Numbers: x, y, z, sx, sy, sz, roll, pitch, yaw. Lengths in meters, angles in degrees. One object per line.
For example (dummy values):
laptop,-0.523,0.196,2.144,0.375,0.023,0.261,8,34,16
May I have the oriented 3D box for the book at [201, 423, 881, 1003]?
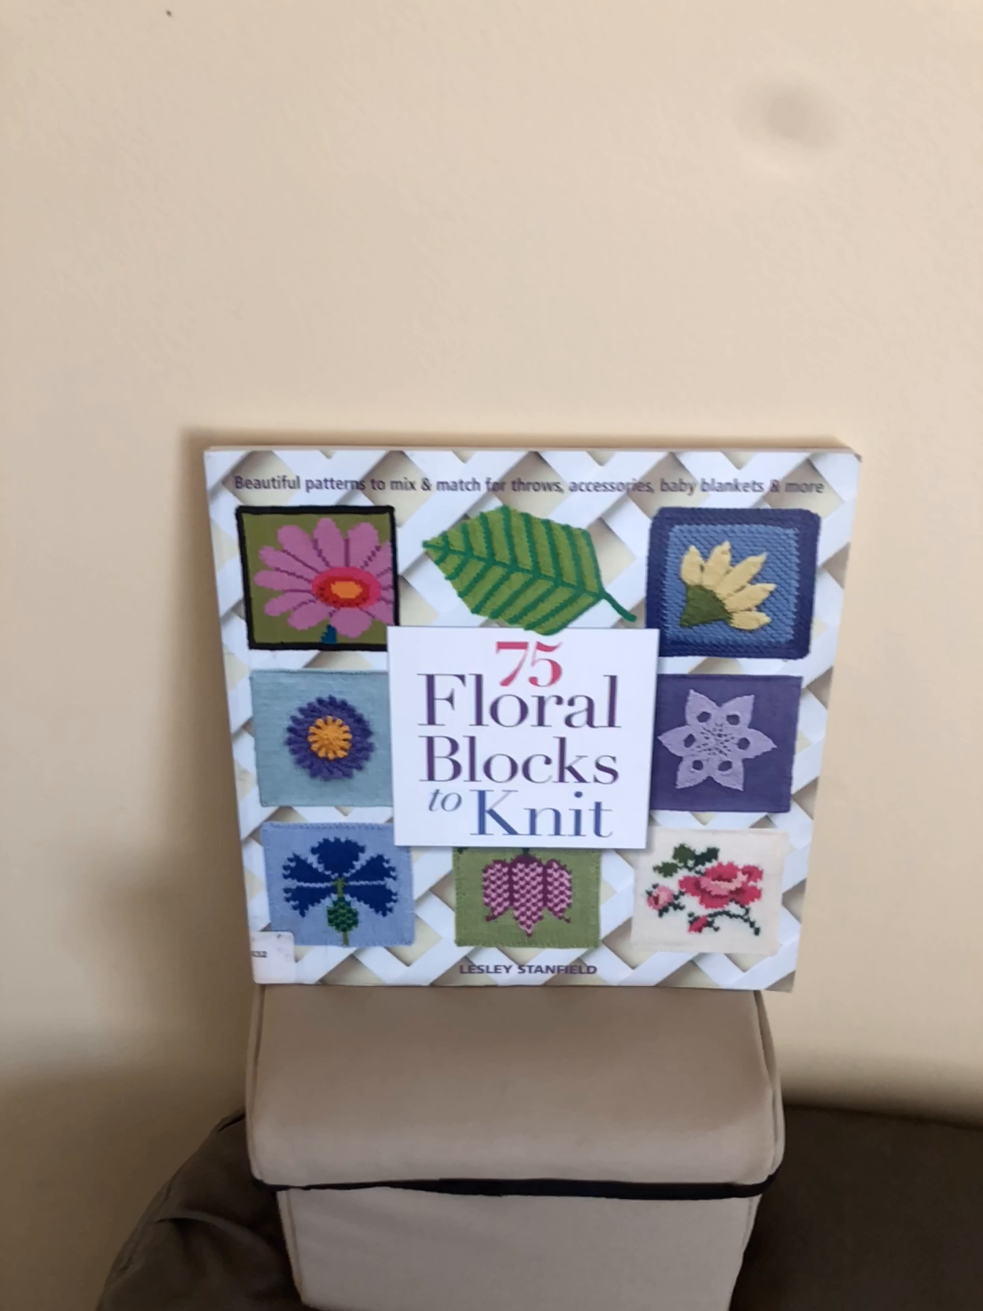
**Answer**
book,0.014,0.029,0.393,0.218,0.215,0.020,1,20,-1
